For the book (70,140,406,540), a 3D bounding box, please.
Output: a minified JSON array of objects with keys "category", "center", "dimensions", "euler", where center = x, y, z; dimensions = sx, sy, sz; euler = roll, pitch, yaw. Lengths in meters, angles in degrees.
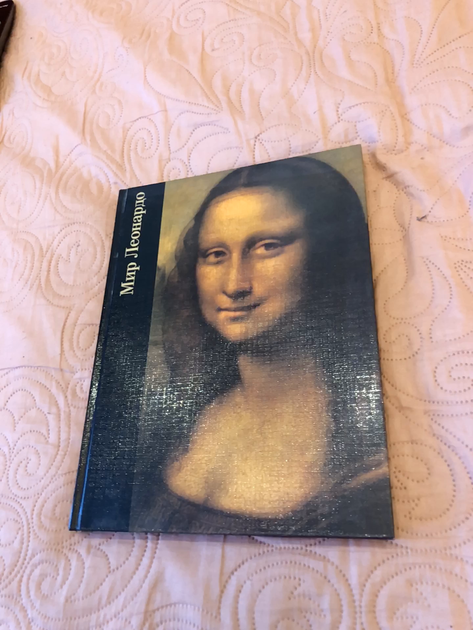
[{"category":"book","center":[-0.003,0.012,0.377],"dimensions":[0.210,0.030,0.273],"euler":[-6,67,16]}]
